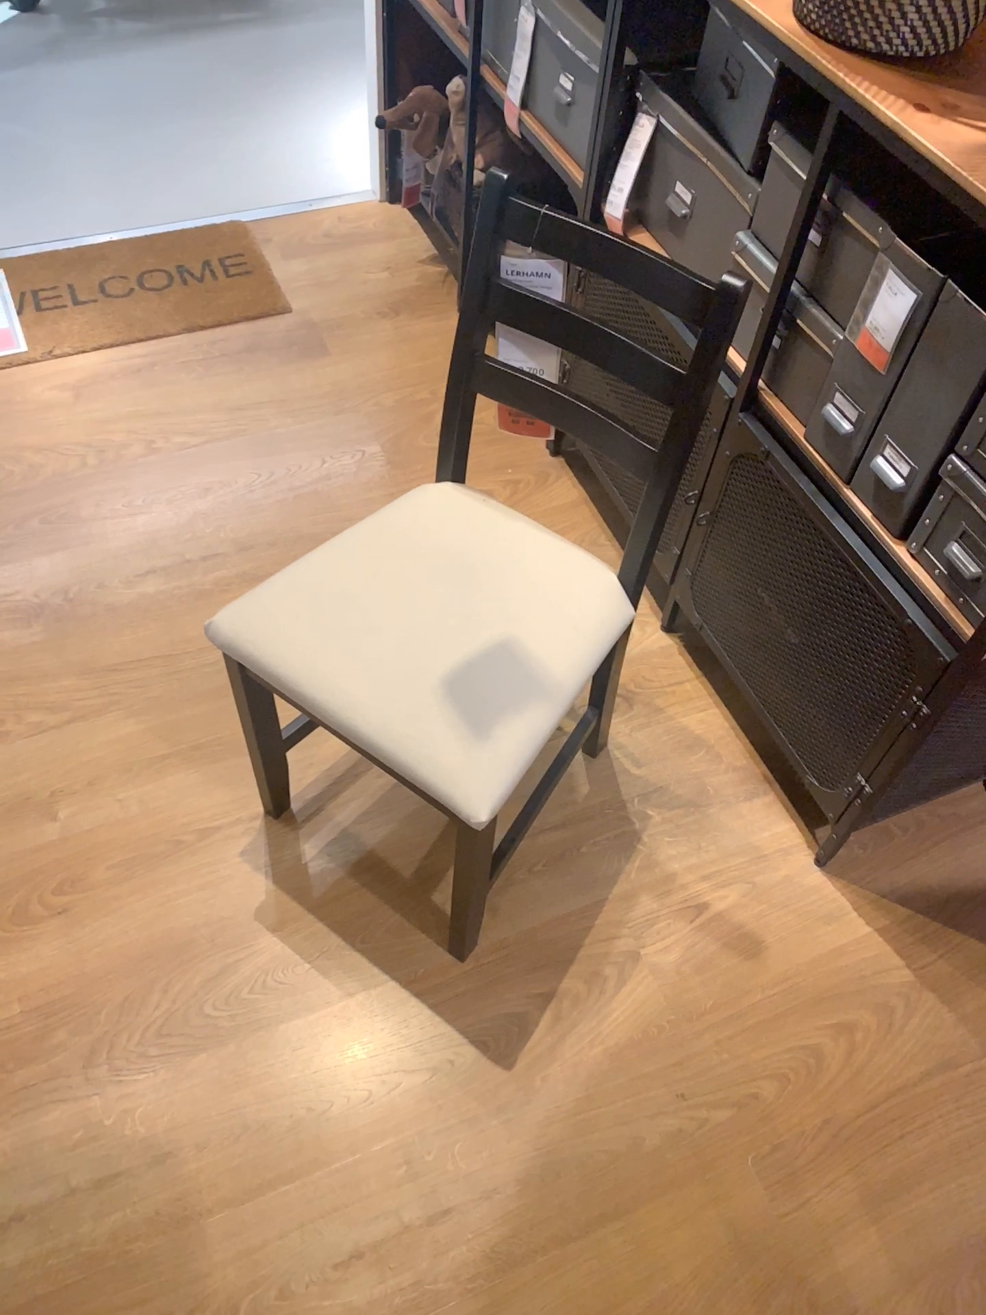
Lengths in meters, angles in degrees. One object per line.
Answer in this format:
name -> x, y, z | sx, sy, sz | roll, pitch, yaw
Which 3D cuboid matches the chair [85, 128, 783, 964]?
chair -> -0.055, -0.081, 1.180 | 0.401, 0.768, 0.471 | 33, 57, 20
